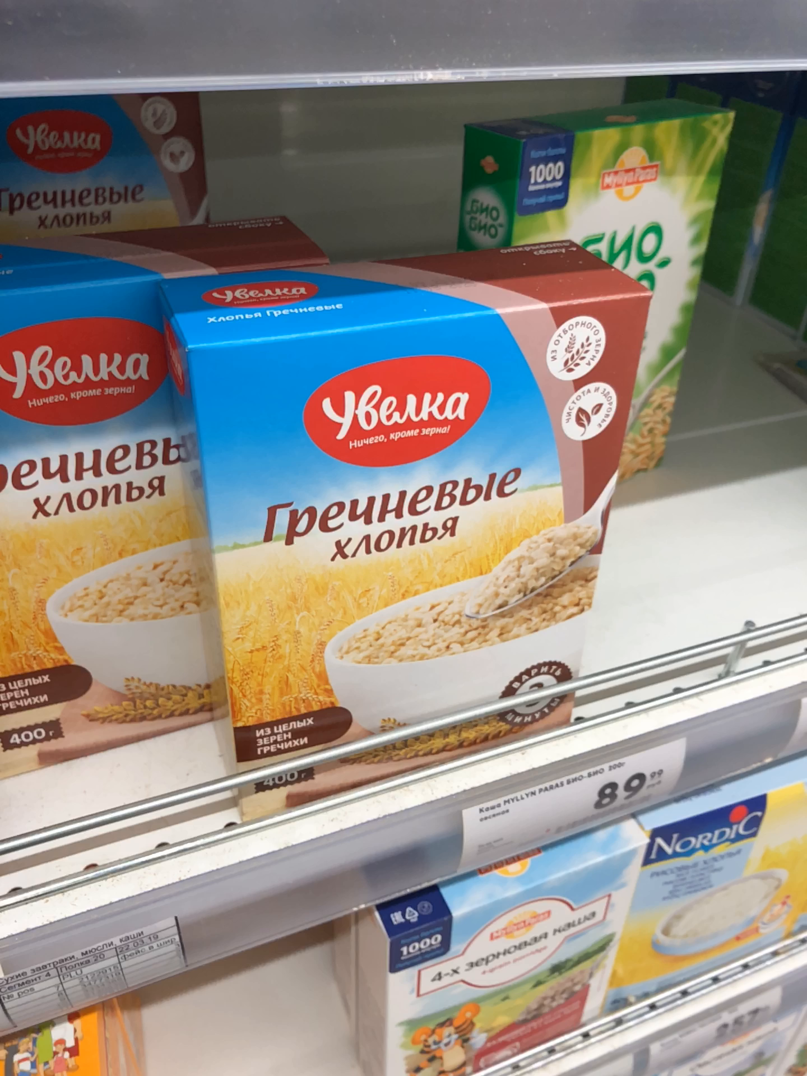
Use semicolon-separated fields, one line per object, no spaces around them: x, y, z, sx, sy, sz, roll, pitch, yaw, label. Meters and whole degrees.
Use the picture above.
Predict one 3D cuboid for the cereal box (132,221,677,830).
-0.002;-0.002;0.320;0.150;0.189;0.060;-12;37;-18;cereal box
